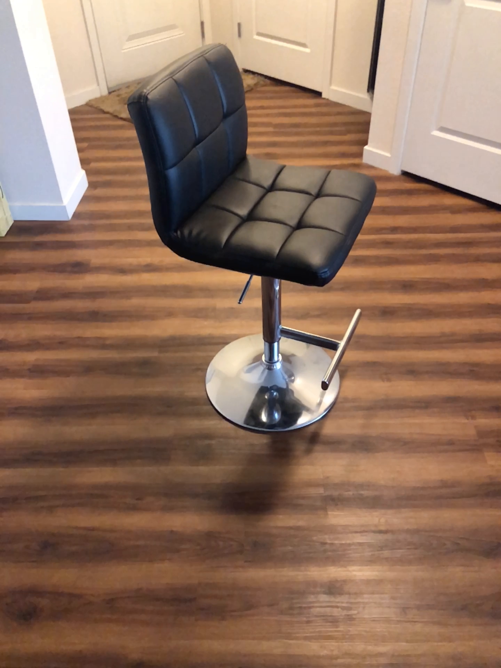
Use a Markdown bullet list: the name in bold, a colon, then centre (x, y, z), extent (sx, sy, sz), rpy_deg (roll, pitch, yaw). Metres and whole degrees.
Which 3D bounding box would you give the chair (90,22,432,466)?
- **chair**: centre (0.063, -0.225, 1.482), extent (0.568, 0.952, 0.536), rpy_deg (15, 44, 18)
